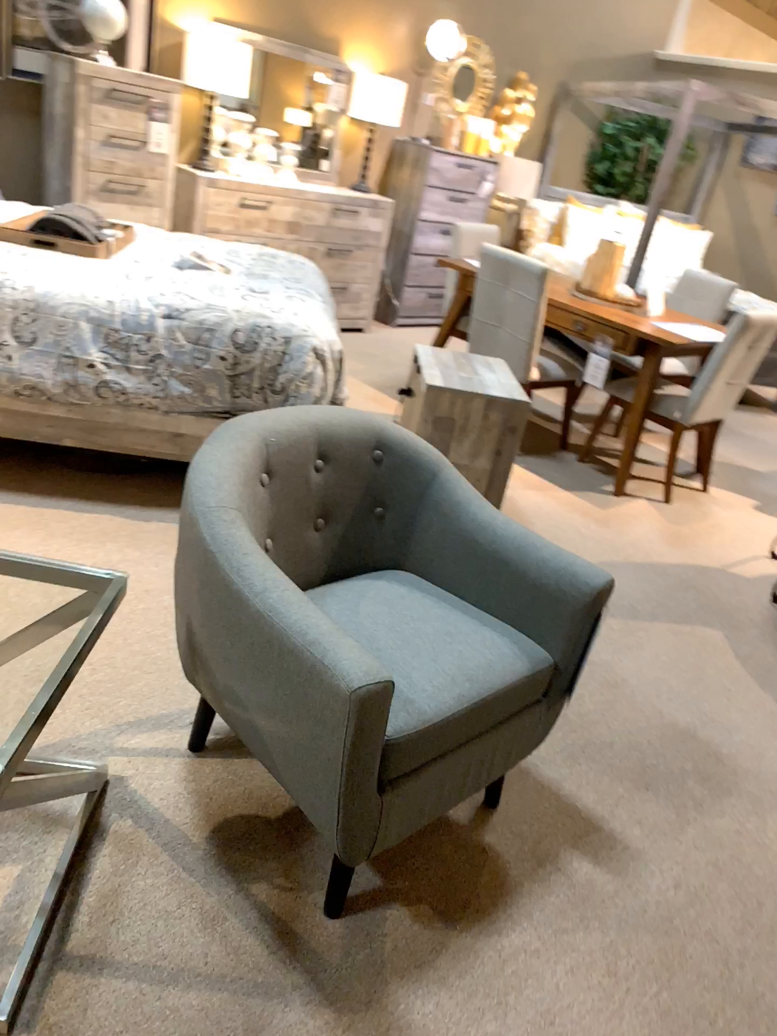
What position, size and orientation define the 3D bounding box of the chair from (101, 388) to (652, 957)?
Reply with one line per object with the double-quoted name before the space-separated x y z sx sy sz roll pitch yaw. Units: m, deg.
"chair" -0.069 0.211 1.685 0.749 0.702 0.743 -13 36 -42
